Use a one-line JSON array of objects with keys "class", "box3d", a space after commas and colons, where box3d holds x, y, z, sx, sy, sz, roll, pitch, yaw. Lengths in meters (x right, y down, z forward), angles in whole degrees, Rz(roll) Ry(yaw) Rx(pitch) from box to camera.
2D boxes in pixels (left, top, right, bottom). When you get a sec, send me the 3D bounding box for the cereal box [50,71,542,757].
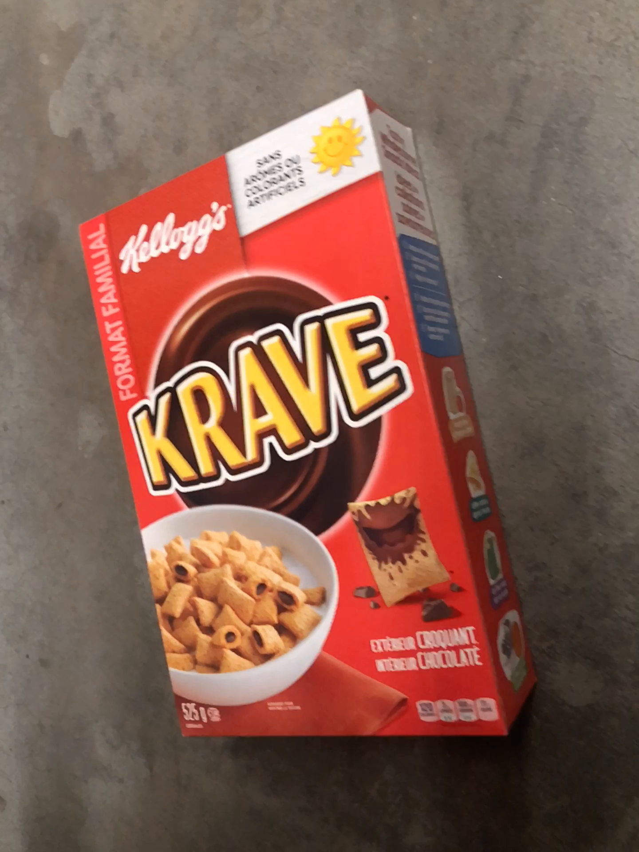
[{"class": "cereal box", "box3d": [-0.021, 0.010, 0.388, 0.201, 0.070, 0.310, -14, 88, 29]}]
